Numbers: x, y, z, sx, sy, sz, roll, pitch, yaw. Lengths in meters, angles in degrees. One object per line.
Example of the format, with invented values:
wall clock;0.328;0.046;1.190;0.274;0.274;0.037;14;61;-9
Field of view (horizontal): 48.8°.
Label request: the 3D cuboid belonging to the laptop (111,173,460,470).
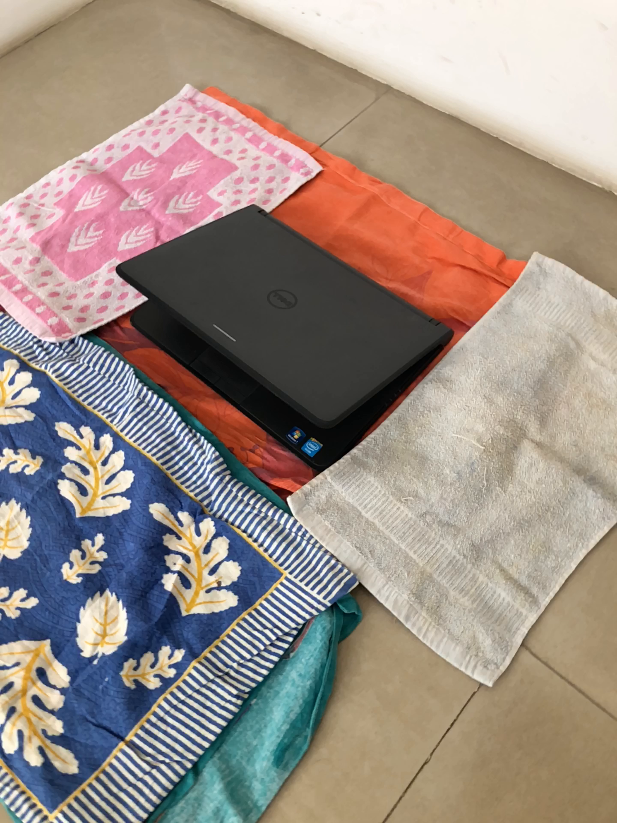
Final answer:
laptop;-0.027;-0.118;0.782;0.314;0.078;0.227;37;66;22
